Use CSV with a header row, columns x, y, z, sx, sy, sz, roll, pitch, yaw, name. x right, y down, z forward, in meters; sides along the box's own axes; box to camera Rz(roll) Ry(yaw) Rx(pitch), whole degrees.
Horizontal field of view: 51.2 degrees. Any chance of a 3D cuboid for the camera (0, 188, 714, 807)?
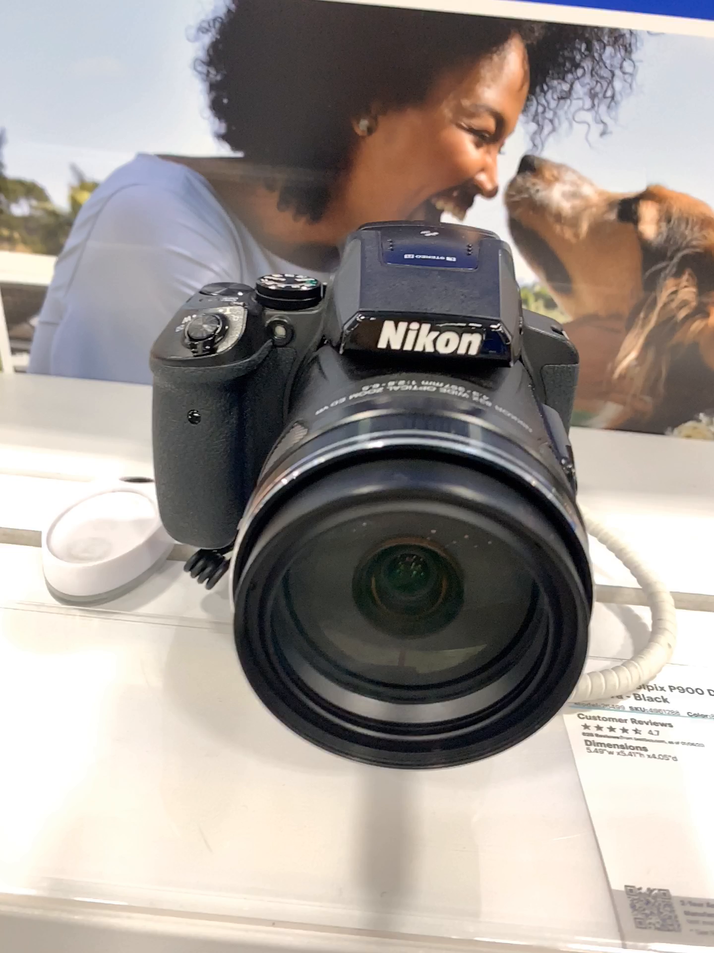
x,y,z,sx,sy,sz,roll,pitch,yaw,name
0.007,-0.014,0.208,0.140,0.100,0.154,6,24,0,camera
